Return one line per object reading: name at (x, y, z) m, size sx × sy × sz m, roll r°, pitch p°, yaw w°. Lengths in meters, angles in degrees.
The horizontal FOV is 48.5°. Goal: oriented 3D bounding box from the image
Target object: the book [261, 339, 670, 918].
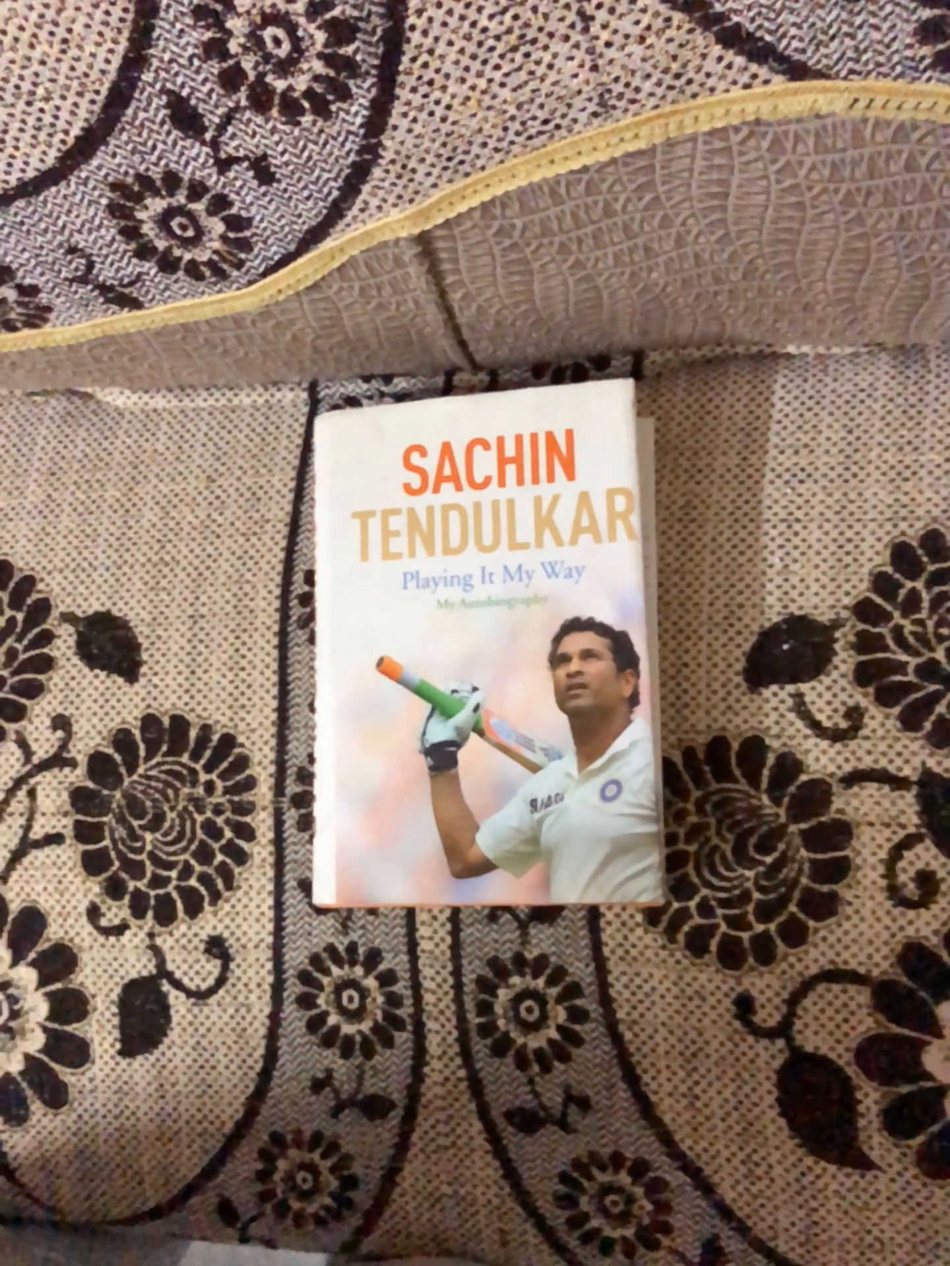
book at (-0.003, 0.002, 0.514) m, size 0.180 × 0.070 × 0.260 m, roll -3°, pitch 79°, yaw 10°
